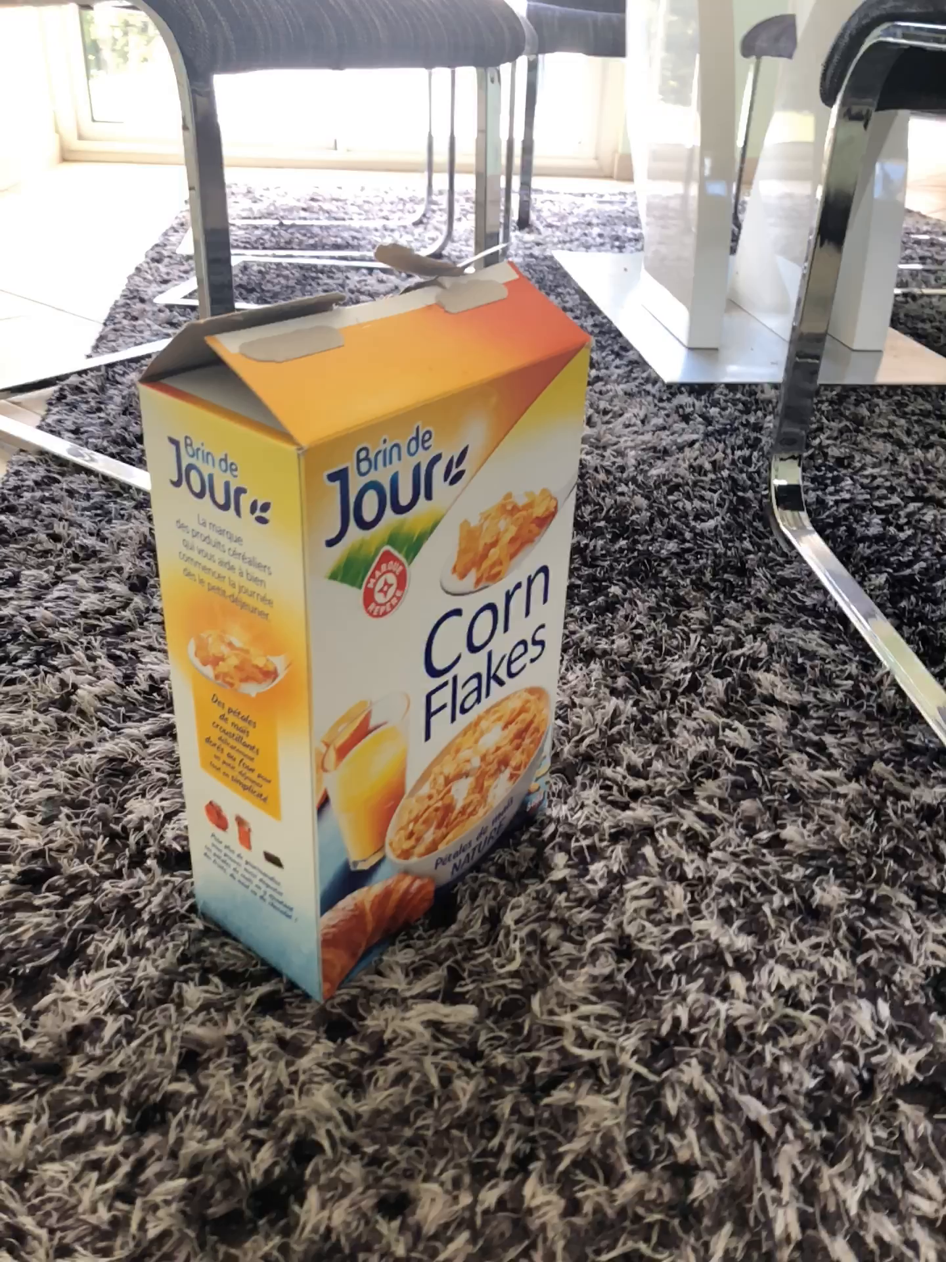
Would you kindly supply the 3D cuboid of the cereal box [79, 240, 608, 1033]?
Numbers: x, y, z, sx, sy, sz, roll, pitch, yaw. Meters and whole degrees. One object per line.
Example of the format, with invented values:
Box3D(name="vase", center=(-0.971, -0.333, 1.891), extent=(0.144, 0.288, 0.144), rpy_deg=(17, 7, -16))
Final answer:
Box3D(name="cereal box", center=(-0.046, -0.005, 0.493), extent=(0.100, 0.308, 0.201), rpy_deg=(23, 35, 31))
